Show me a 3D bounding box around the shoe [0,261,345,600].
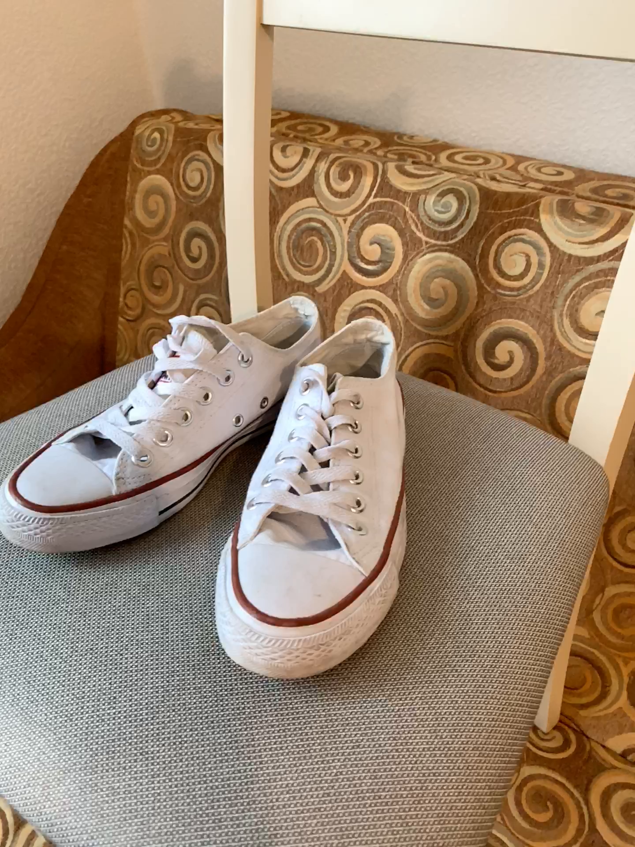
[{"bbox_3d":[-0.086,-0.013,0.386,0.090,0.060,0.220,26,49,29],"label":"shoe"}]

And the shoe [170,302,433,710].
[{"bbox_3d":[0.008,0.022,0.345,0.090,0.060,0.221,5,42,9],"label":"shoe"}]
